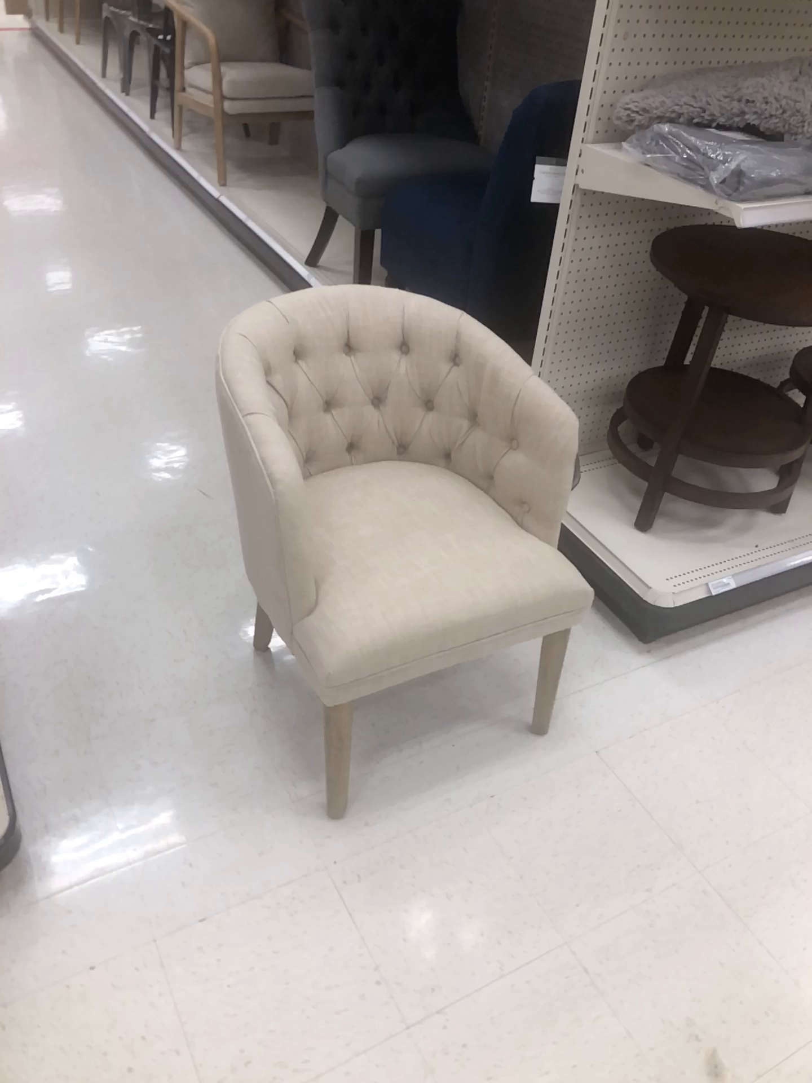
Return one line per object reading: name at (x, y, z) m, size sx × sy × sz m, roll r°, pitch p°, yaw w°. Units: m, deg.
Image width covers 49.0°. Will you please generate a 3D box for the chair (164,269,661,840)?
chair at (-0.045, -0.021, 1.688) m, size 0.562 × 0.700 × 0.683 m, roll -16°, pitch 42°, yaw -26°
